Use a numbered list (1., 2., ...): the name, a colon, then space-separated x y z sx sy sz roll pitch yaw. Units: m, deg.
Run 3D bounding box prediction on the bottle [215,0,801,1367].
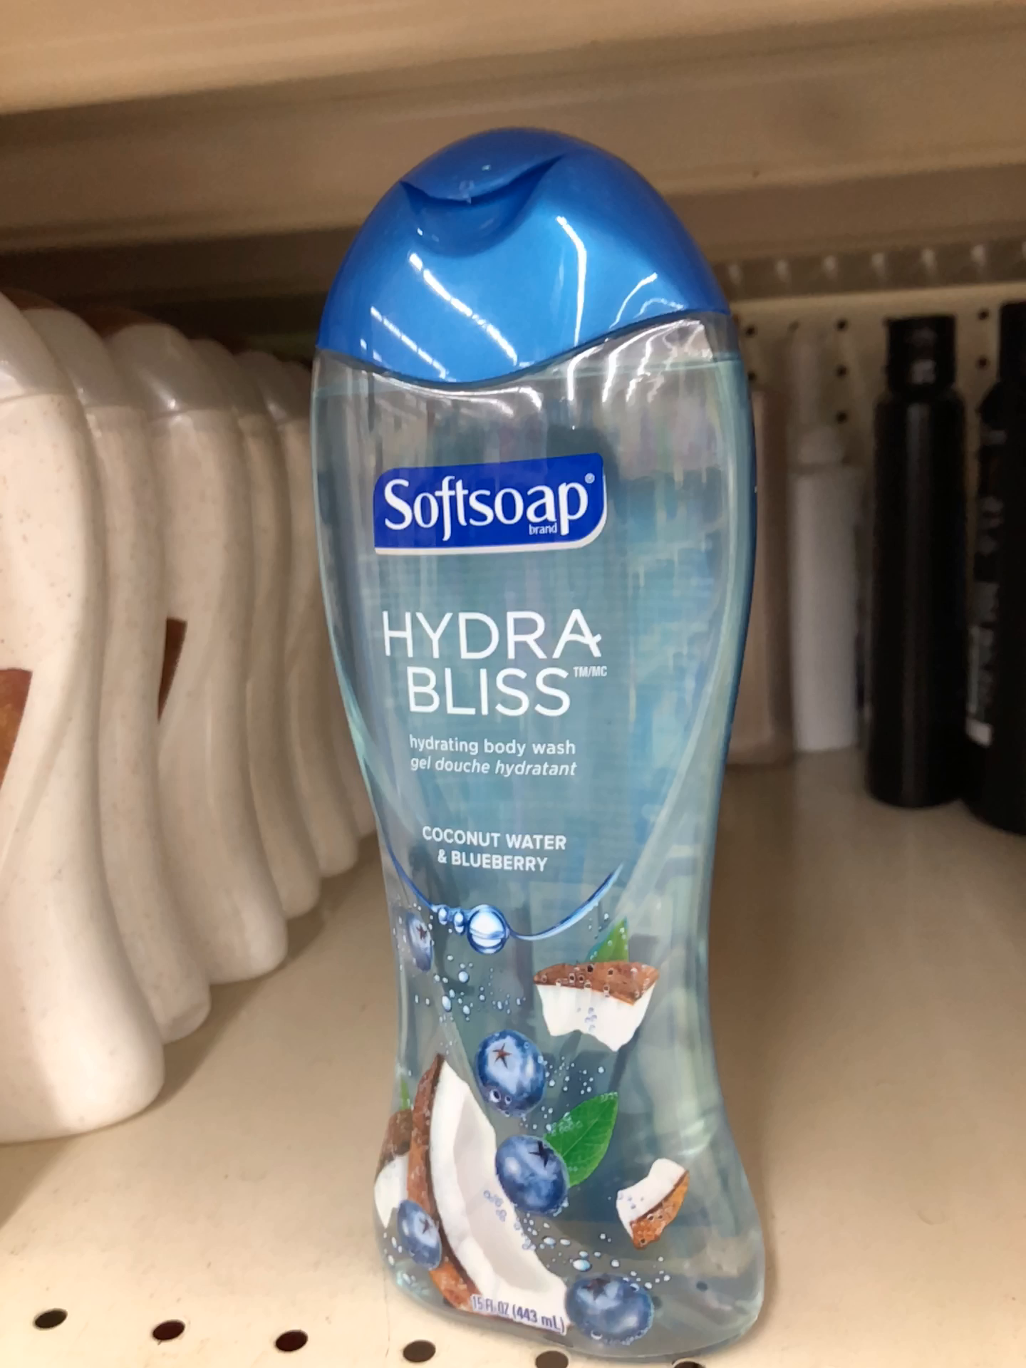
1. bottle: 0.007 0.009 0.205 0.080 0.211 0.051 2 13 21
